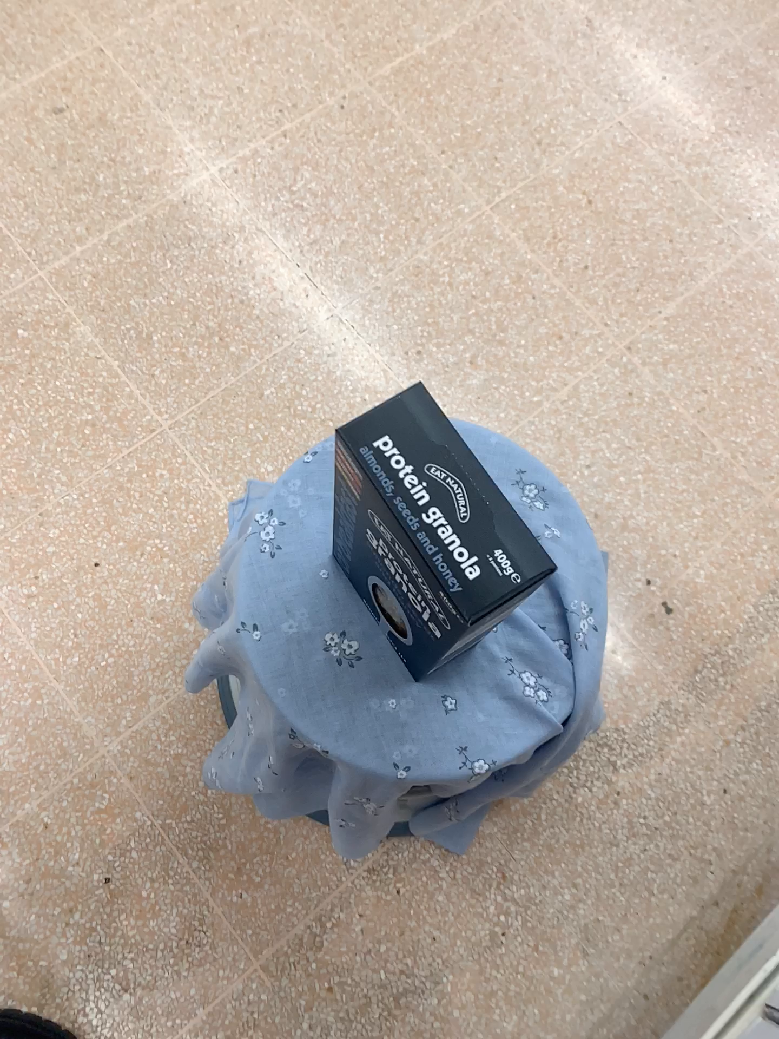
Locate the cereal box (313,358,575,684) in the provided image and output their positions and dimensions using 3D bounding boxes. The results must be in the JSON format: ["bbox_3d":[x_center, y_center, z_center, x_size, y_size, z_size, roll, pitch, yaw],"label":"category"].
[{"bbox_3d":[0.018,0.020,0.509,0.070,0.239,0.130,-31,78,-12],"label":"cereal box"}]
